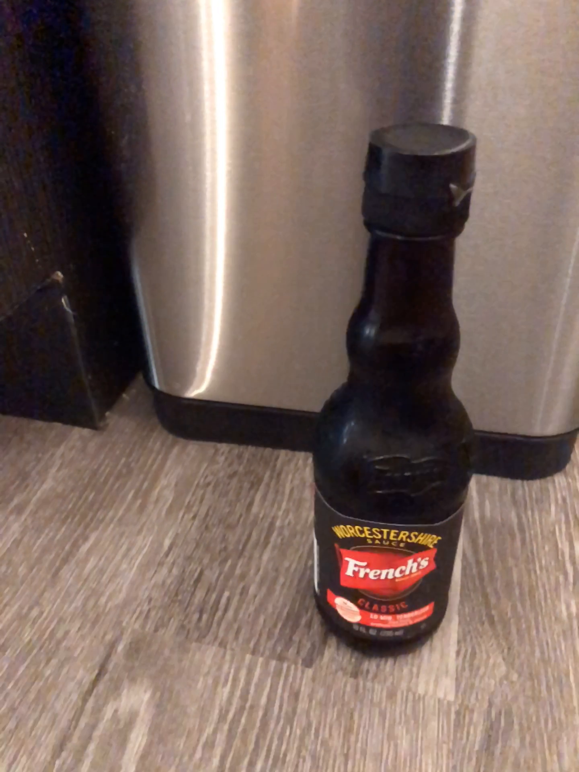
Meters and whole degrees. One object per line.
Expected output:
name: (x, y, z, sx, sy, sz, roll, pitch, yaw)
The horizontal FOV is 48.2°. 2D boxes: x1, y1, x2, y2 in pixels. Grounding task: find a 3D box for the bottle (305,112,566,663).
bottle: (0.040, 0.014, 0.234, 0.060, 0.199, 0.060, -1, 36, 1)
